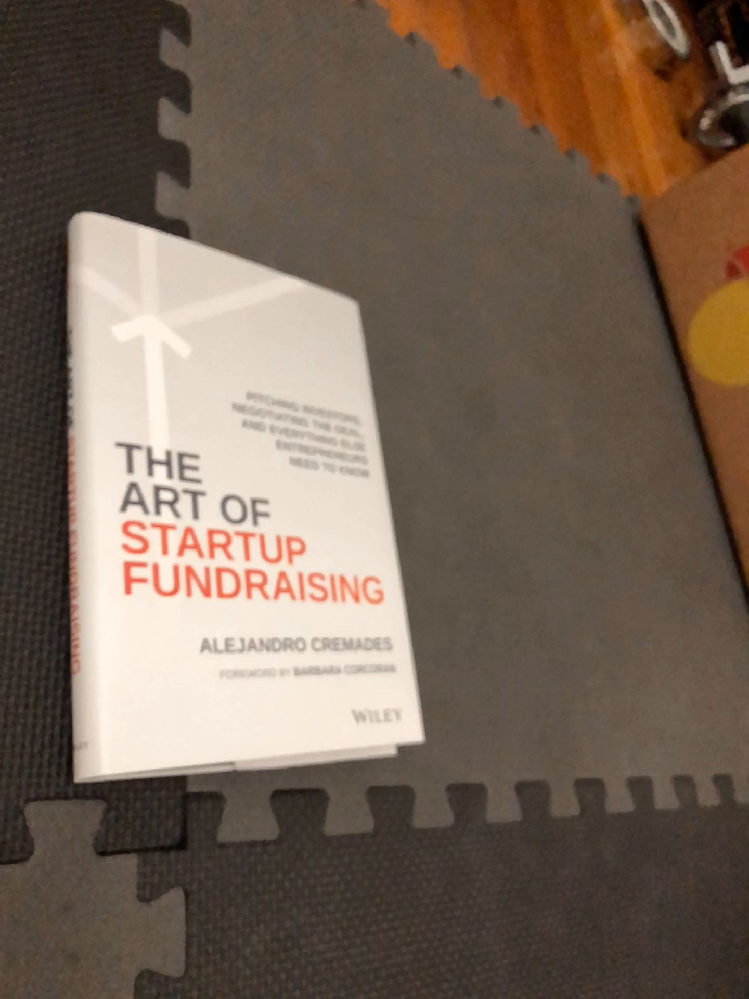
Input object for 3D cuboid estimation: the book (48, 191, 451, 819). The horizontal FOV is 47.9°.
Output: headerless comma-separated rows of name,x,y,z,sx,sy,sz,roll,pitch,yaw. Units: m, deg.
book,-0.055,0.001,0.381,0.171,0.030,0.250,10,63,-40
